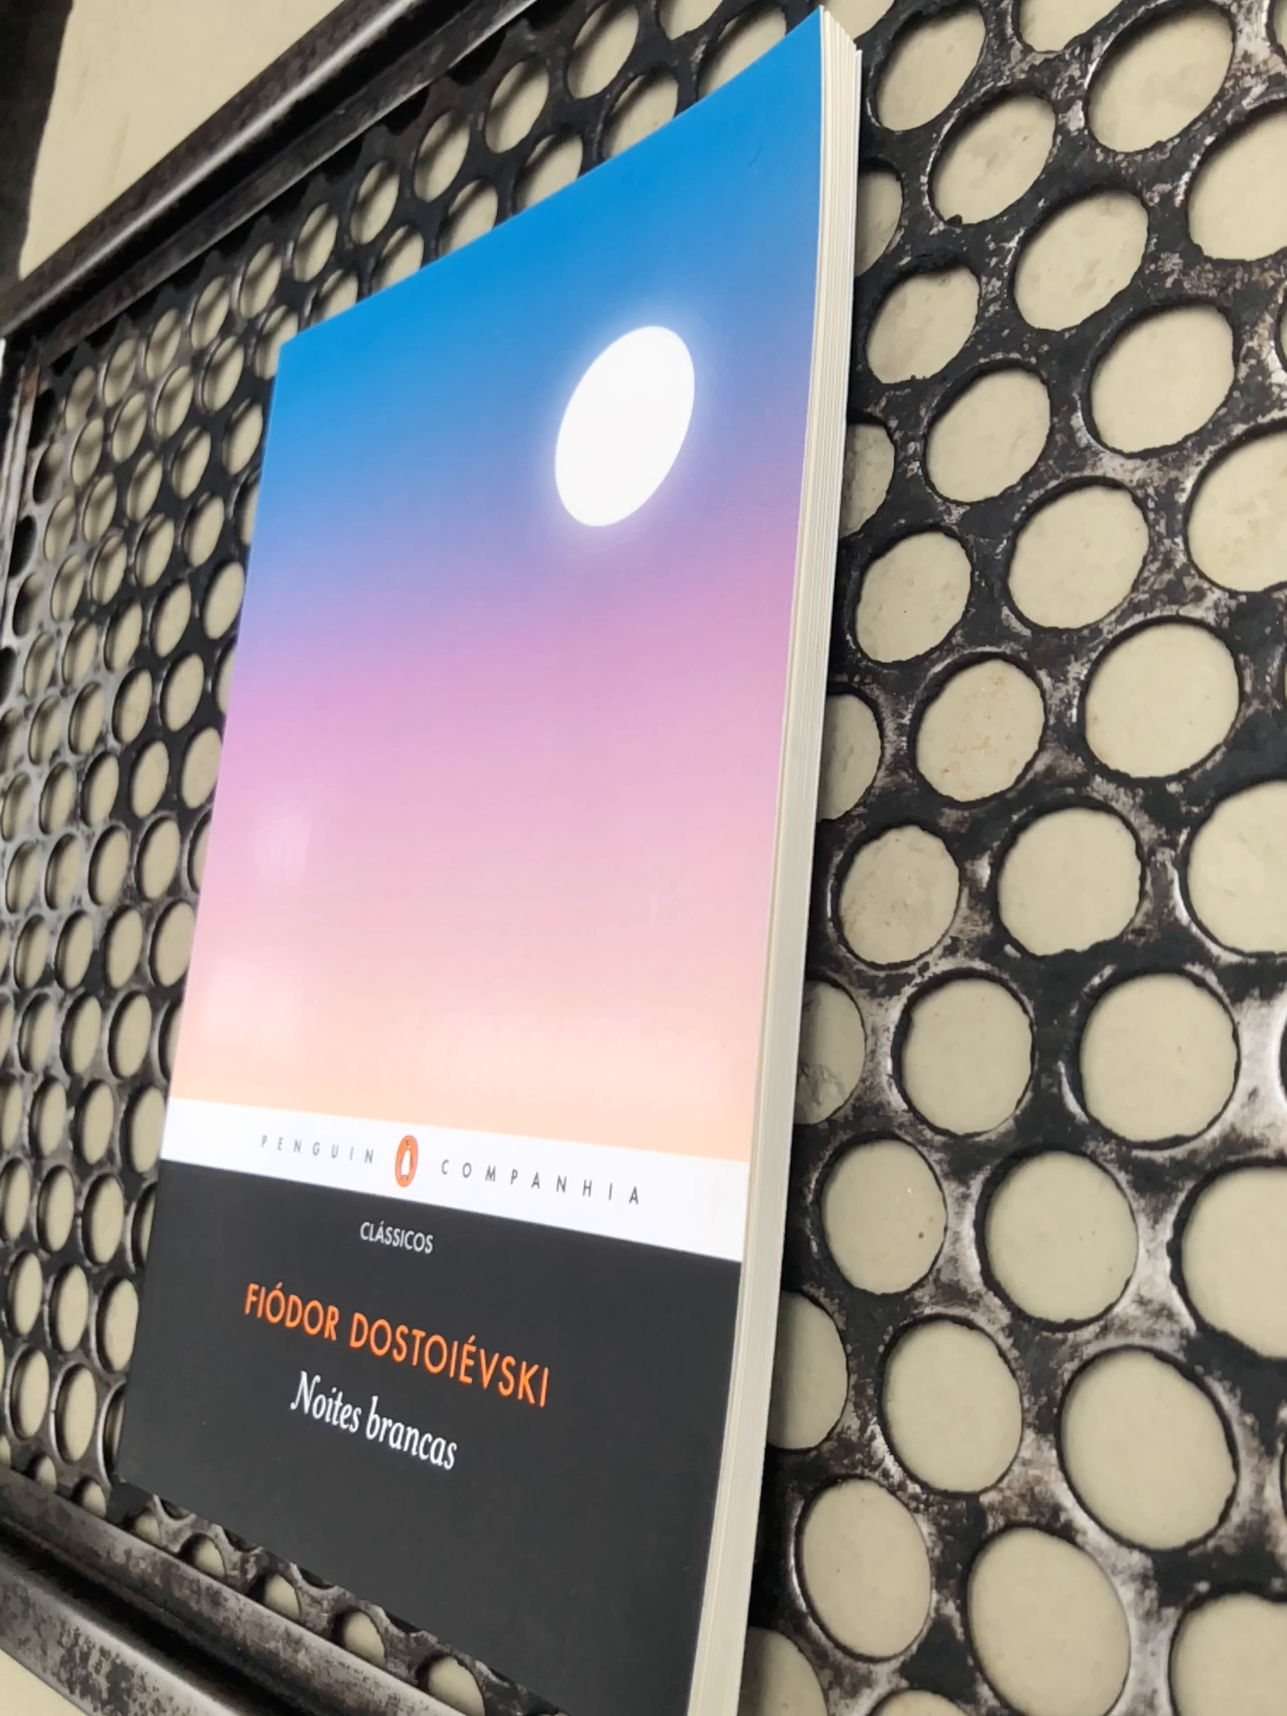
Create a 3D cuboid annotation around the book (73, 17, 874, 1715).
[{"bbox_3d":[-0.031,0.000,0.203,0.133,0.010,0.191,-5,76,45],"label":"book"}]
